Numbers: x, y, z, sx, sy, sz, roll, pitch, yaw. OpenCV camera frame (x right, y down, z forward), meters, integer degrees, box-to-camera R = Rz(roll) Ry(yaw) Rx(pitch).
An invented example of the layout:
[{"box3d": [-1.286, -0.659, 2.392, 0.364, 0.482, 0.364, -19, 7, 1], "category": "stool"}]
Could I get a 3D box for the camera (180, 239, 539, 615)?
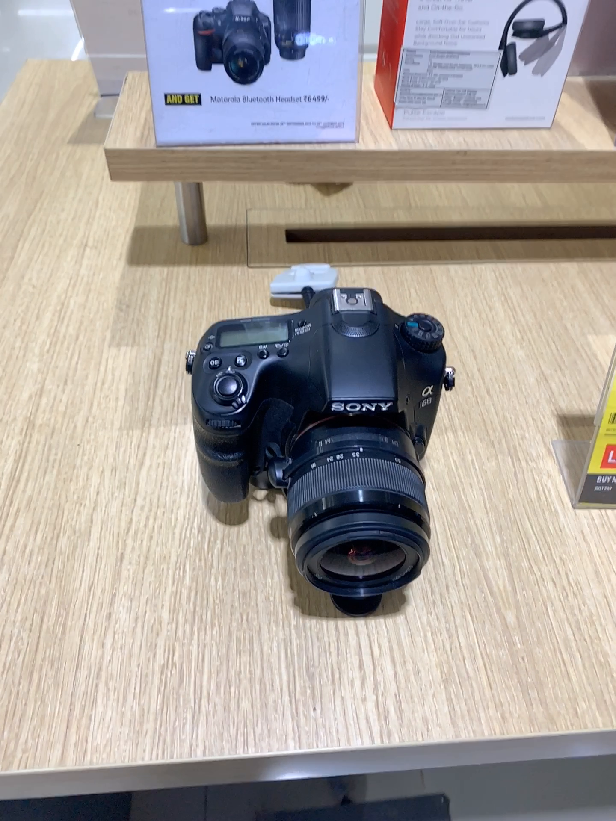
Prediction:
[{"box3d": [0.013, -0.004, 0.314, 0.130, 0.070, 0.181, -2, 47, -4], "category": "camera"}]
